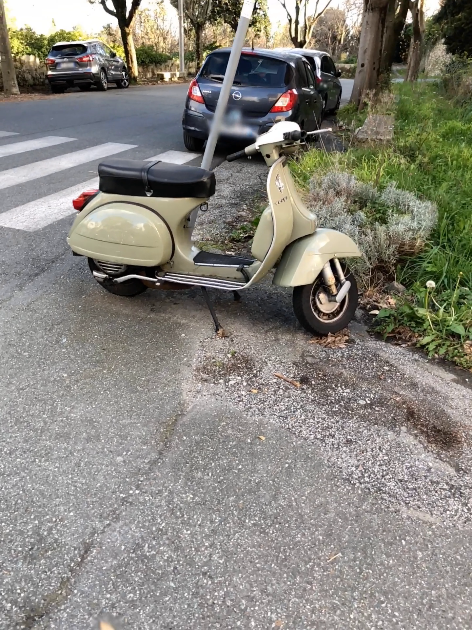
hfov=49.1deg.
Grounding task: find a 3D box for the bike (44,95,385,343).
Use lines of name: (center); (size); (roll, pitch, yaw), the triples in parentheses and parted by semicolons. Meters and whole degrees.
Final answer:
bike: (-0.087, -0.521, 2.626); (1.441, 1.027, 0.624); (6, 30, 11)
